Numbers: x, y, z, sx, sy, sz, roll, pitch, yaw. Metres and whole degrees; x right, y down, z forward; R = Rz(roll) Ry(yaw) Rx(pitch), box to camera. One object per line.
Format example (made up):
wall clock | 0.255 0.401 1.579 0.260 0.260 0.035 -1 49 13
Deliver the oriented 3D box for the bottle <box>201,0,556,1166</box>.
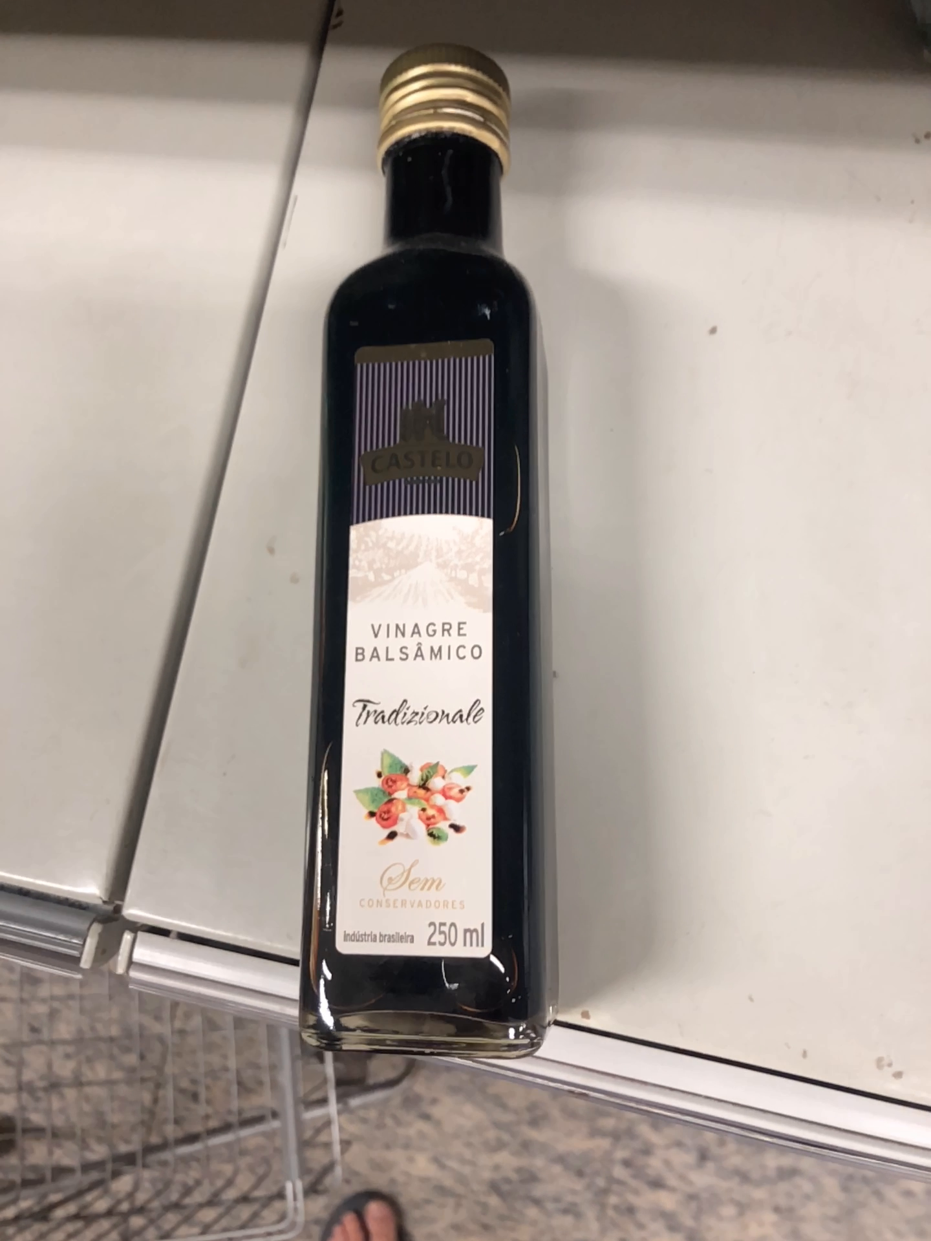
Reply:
bottle | -0.012 -0.024 0.235 0.060 0.060 0.250 0 81 8
